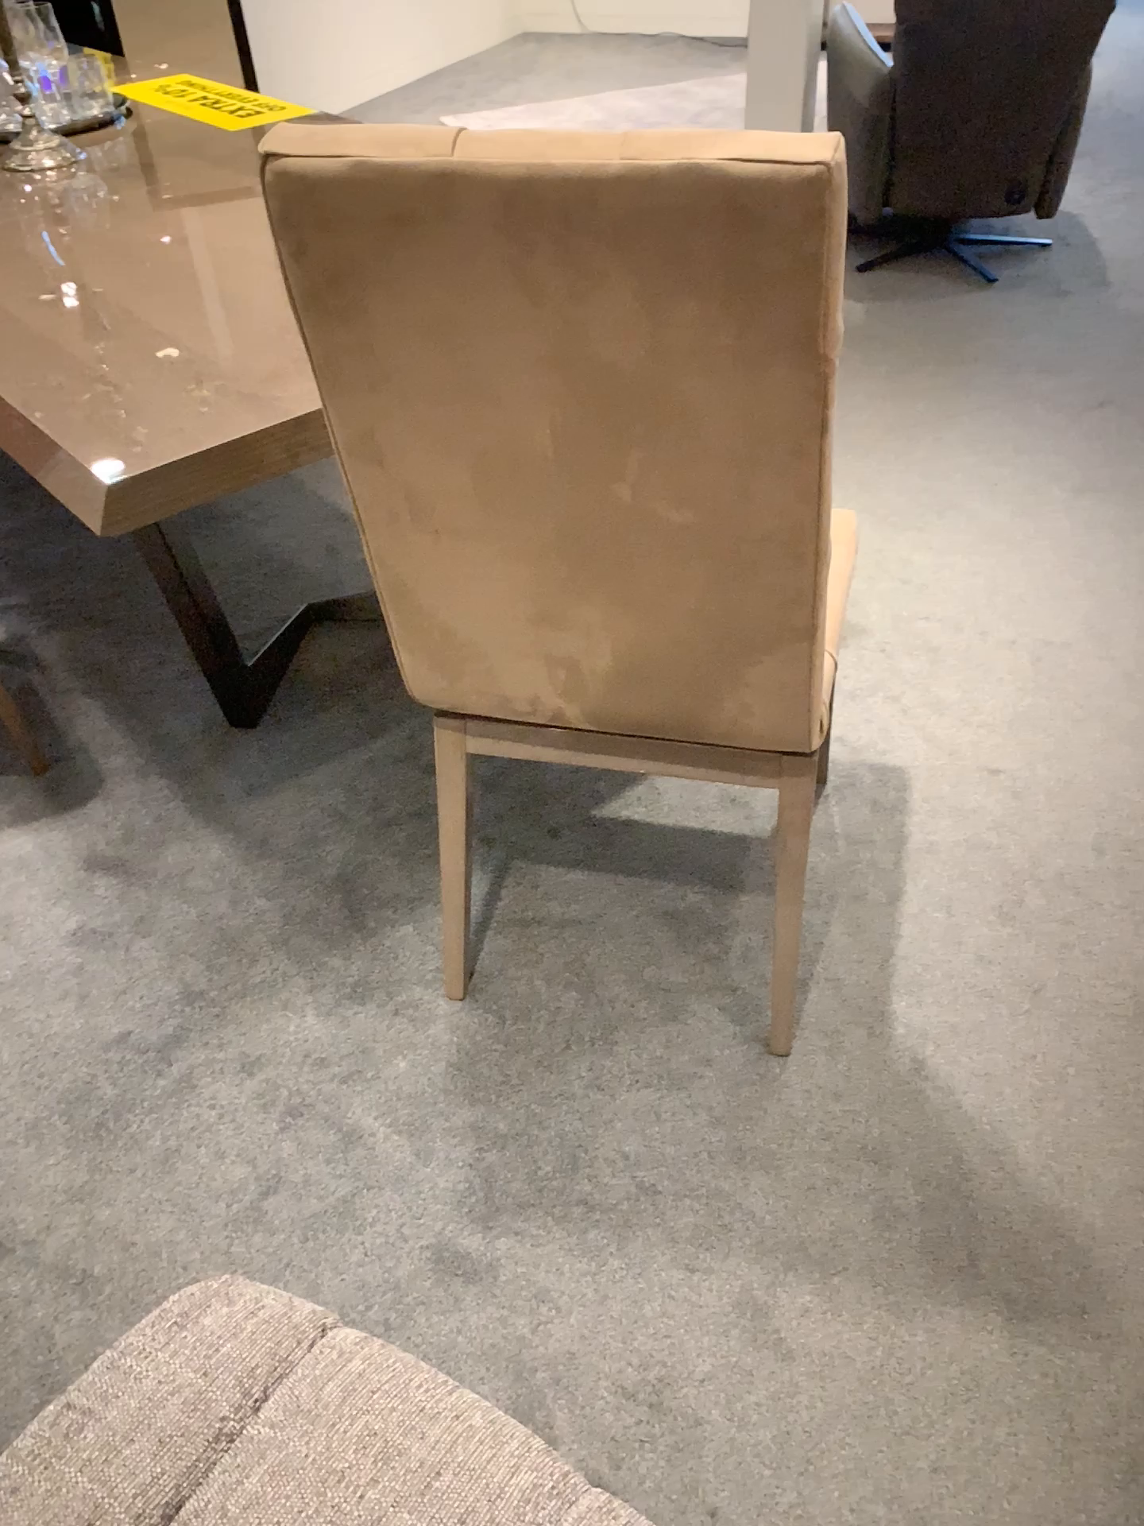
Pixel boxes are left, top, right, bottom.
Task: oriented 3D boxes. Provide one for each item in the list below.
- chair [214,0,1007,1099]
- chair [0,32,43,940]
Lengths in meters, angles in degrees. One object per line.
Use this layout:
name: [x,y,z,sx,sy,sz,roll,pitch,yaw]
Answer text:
chair: [0.100,-0.232,1.318,0.523,1.021,0.642,6,40,11]
chair: [-1.303,-0.386,1.673,0.637,1.021,0.527,-21,43,-20]
